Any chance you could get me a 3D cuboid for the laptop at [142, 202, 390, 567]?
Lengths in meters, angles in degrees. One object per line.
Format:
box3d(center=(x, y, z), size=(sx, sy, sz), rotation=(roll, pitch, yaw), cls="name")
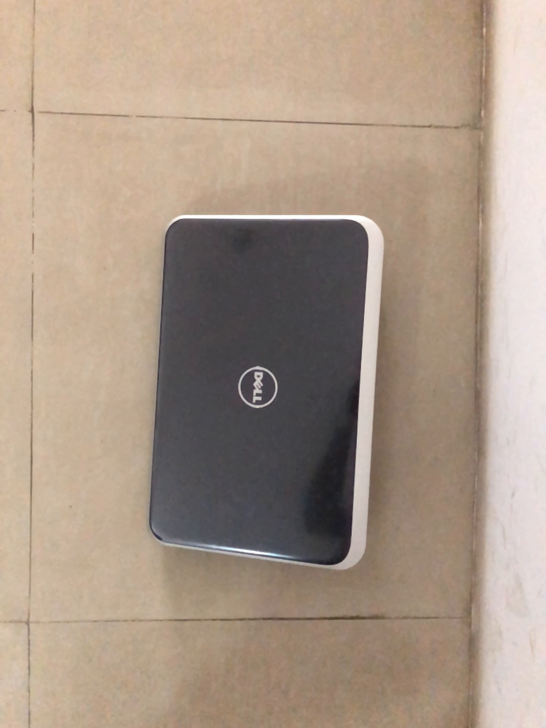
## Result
box3d(center=(-0.011, 0.024, 0.654), size=(0.234, 0.080, 0.360), rotation=(3, 93, -1), cls="laptop")
